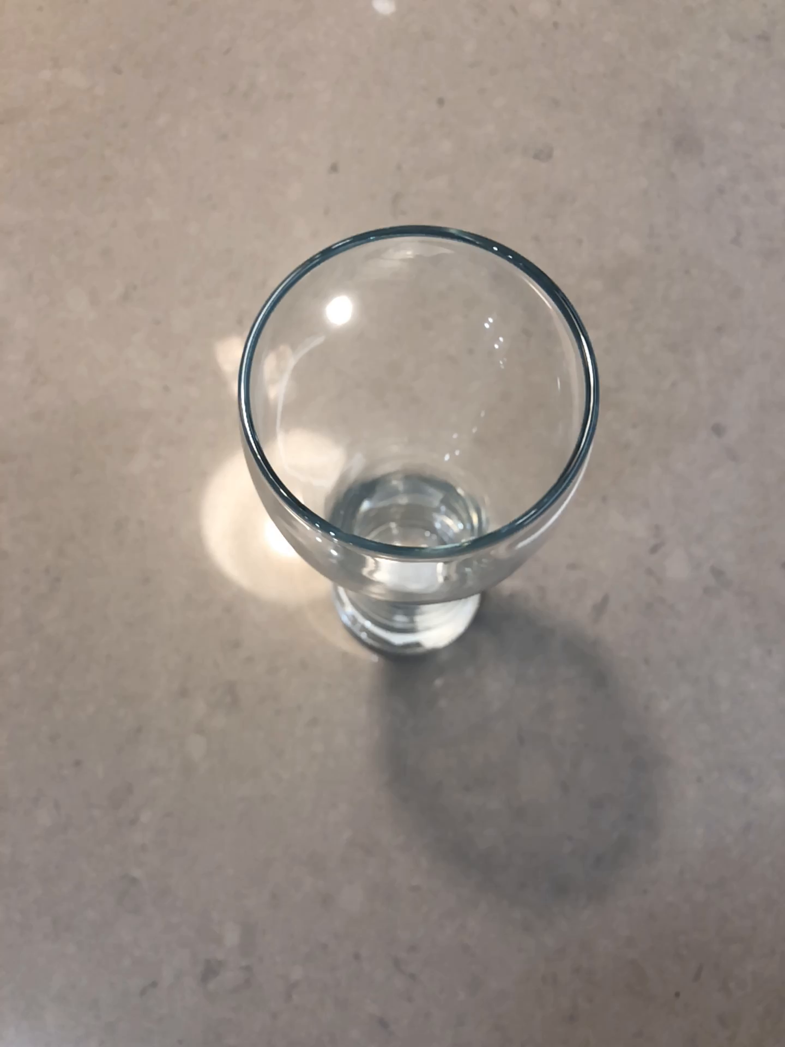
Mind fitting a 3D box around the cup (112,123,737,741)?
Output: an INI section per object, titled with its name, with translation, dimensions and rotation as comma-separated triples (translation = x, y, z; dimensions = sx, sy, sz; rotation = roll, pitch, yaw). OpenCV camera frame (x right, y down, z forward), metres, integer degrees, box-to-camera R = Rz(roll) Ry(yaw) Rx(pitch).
[cup]
translation = 0.006, -0.001, 0.304
dimensions = 0.100, 0.220, 0.100
rotation = 0, 74, 0
